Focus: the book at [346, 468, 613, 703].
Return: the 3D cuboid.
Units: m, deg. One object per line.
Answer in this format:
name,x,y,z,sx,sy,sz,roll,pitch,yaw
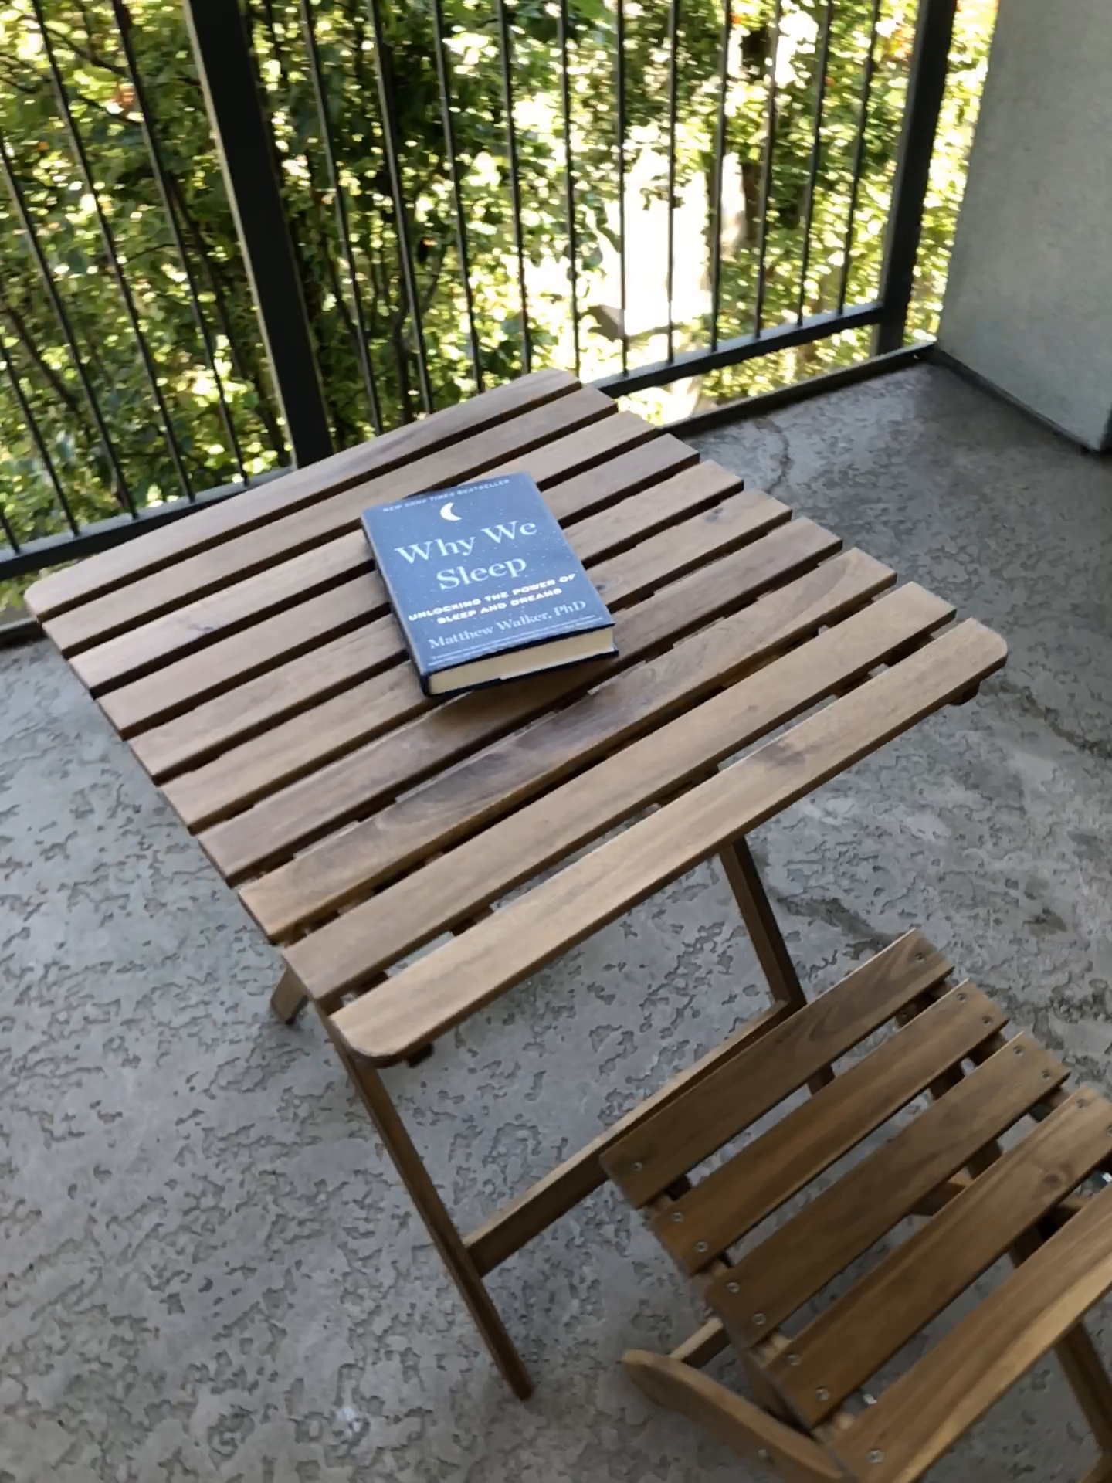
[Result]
book,-0.070,-0.139,1.032,0.170,0.029,0.235,-14,46,-10
